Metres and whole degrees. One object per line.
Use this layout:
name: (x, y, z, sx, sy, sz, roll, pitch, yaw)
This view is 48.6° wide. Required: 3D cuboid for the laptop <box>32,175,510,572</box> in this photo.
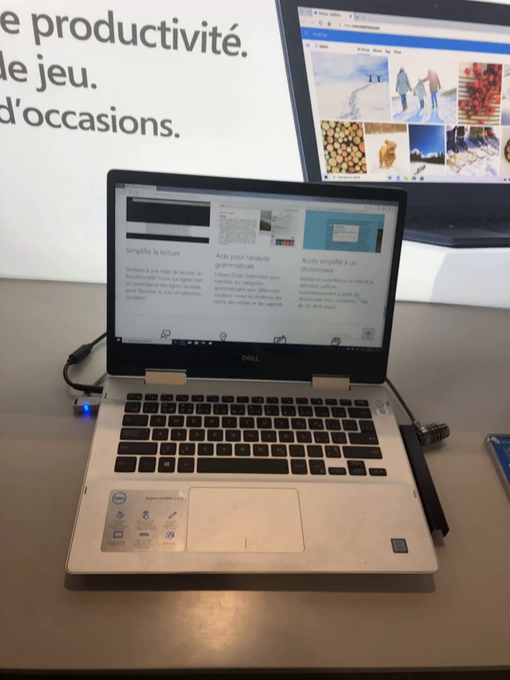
laptop: (0.004, 0.015, 0.549, 0.316, 0.194, 0.338, 2, 42, -5)
